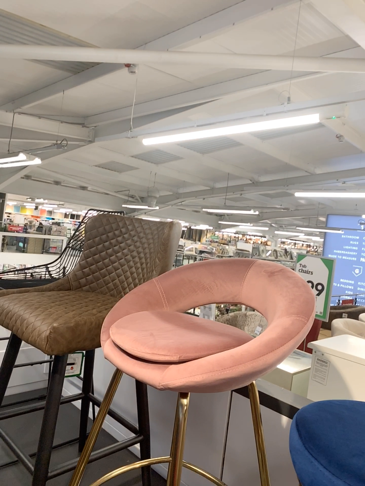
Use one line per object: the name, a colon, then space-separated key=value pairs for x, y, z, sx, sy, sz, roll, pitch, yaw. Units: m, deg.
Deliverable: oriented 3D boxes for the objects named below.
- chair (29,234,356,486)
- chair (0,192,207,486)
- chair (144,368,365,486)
chair: x=0.010 y=0.446 z=0.884 sx=0.460 sy=0.861 sz=0.492 roll=7 pitch=0 yaw=-41
chair: x=-0.316 y=0.354 z=1.200 sx=0.502 sy=0.961 sz=0.450 roll=7 pitch=0 yaw=43
chair: x=0.292 y=0.598 z=0.530 sx=0.430 sy=0.621 sz=0.462 roll=7 pitch=0 yaw=-41
